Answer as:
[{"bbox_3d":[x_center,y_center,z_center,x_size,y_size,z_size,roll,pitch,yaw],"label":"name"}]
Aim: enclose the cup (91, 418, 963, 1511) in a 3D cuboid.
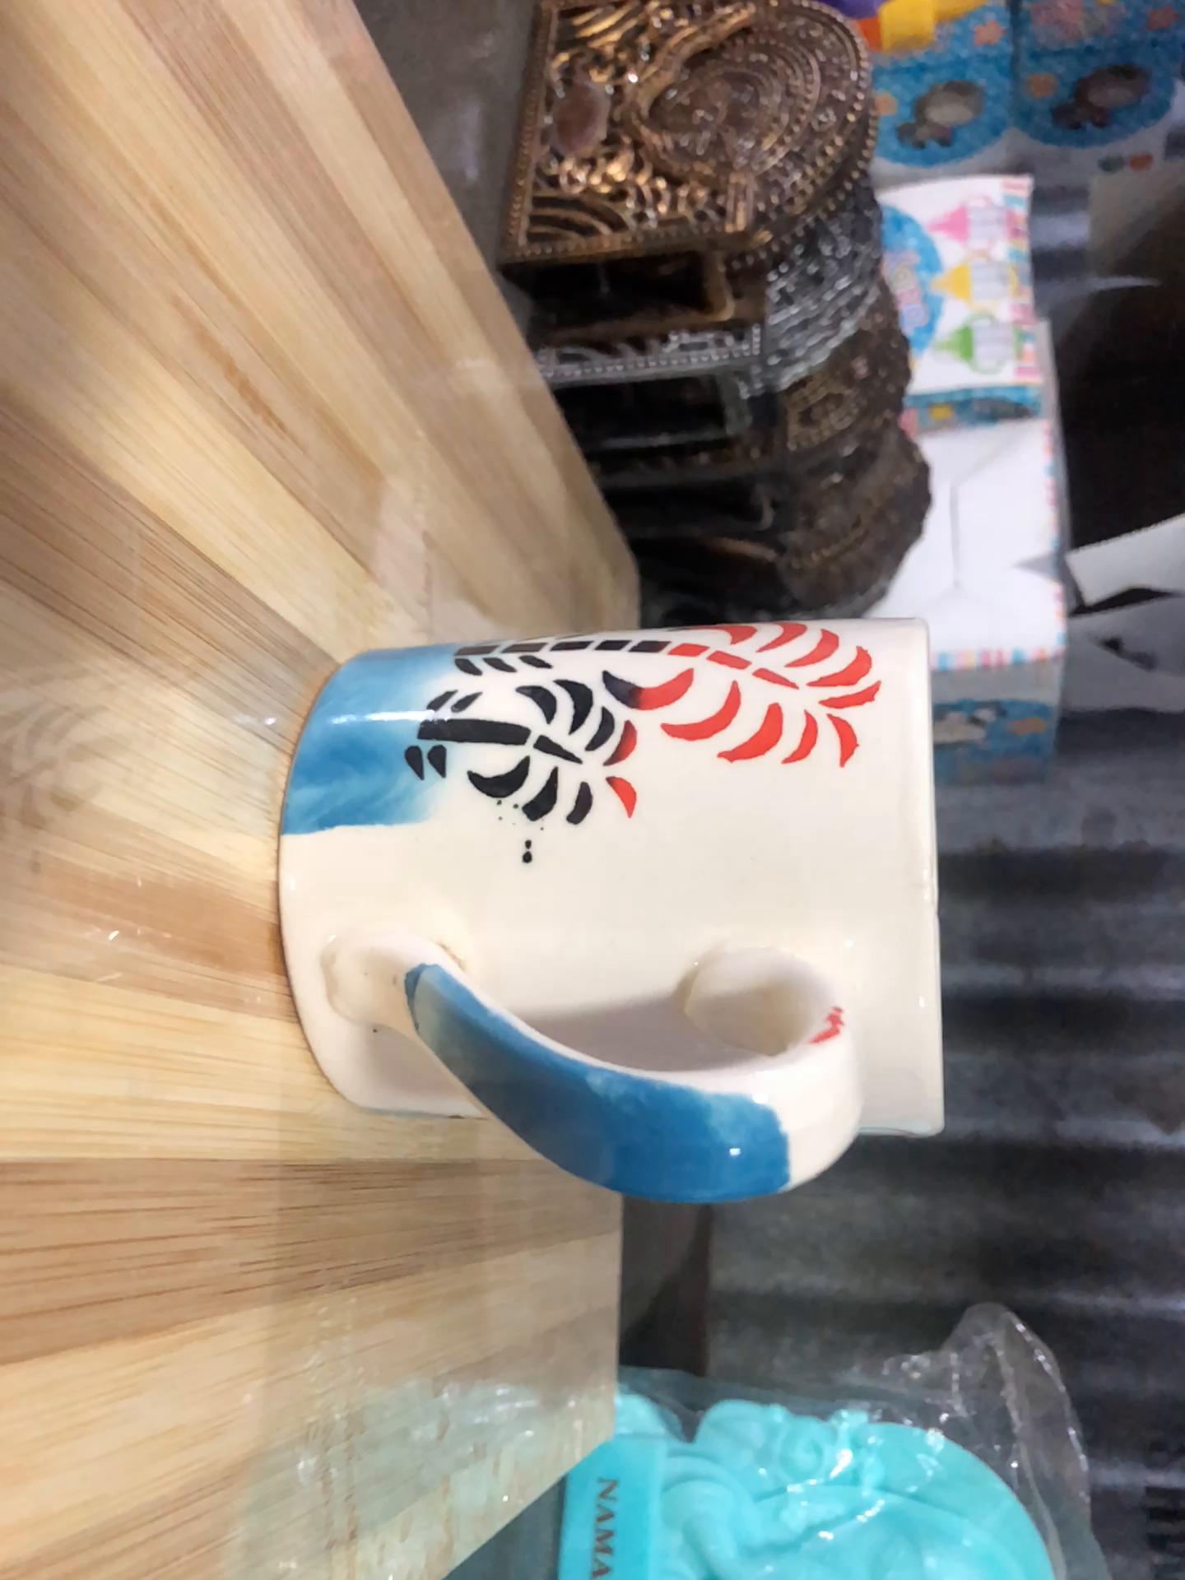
[{"bbox_3d":[0.009,0.012,0.193,0.120,0.080,0.100,-66,151,-61],"label":"cup"}]
